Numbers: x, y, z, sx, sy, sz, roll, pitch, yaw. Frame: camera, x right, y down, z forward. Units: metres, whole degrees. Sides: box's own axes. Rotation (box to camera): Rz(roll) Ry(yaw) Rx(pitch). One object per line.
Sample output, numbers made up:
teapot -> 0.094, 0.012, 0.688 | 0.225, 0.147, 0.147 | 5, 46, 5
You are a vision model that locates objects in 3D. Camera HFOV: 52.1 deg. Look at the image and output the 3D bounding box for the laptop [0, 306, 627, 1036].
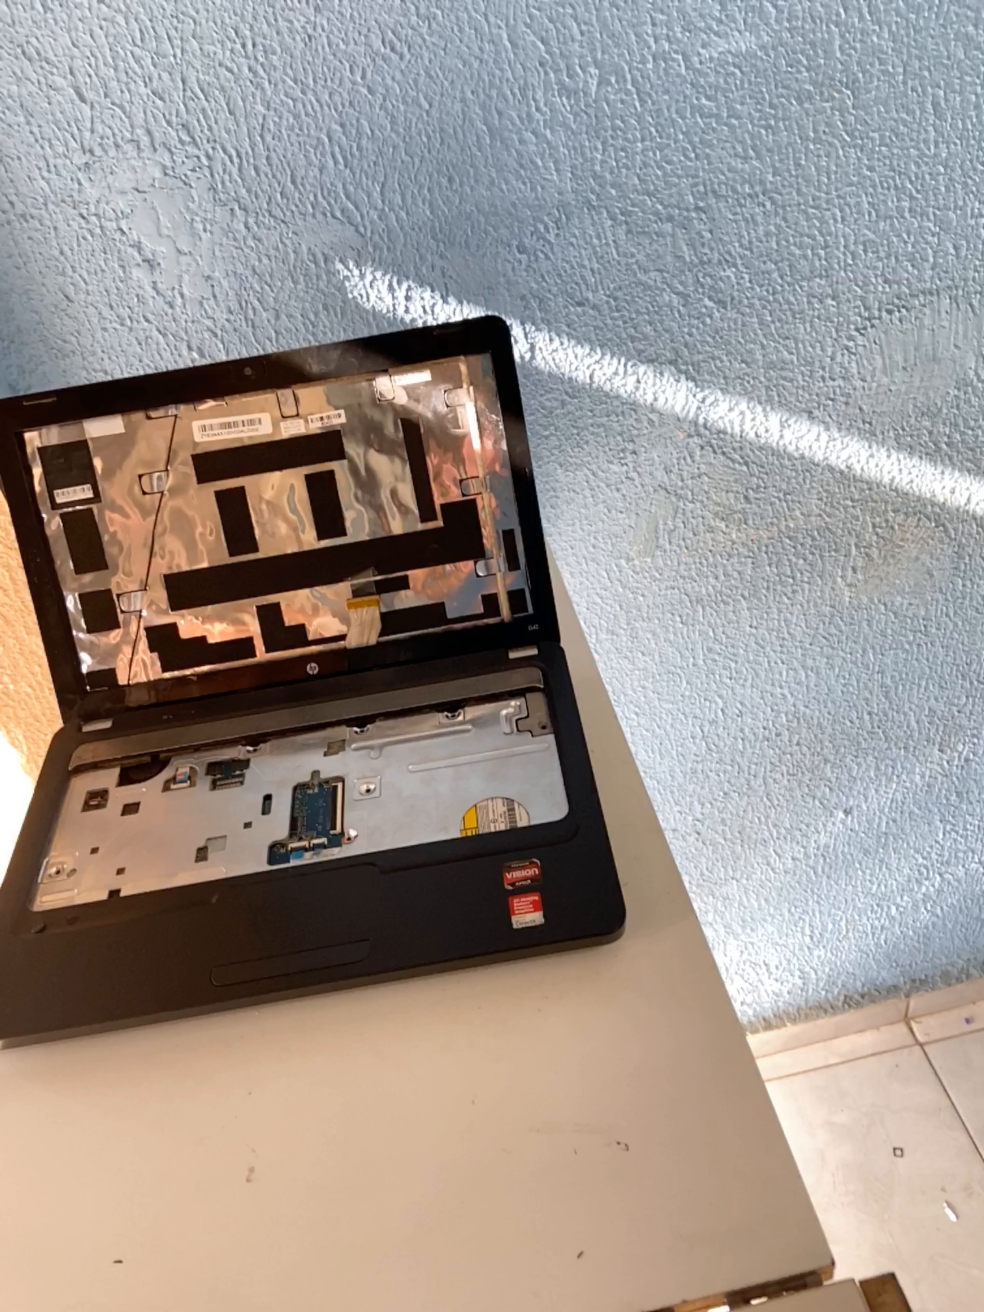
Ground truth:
laptop -> -0.131, -0.018, 0.582 | 0.338, 0.179, 0.351 | -9, 40, 1
